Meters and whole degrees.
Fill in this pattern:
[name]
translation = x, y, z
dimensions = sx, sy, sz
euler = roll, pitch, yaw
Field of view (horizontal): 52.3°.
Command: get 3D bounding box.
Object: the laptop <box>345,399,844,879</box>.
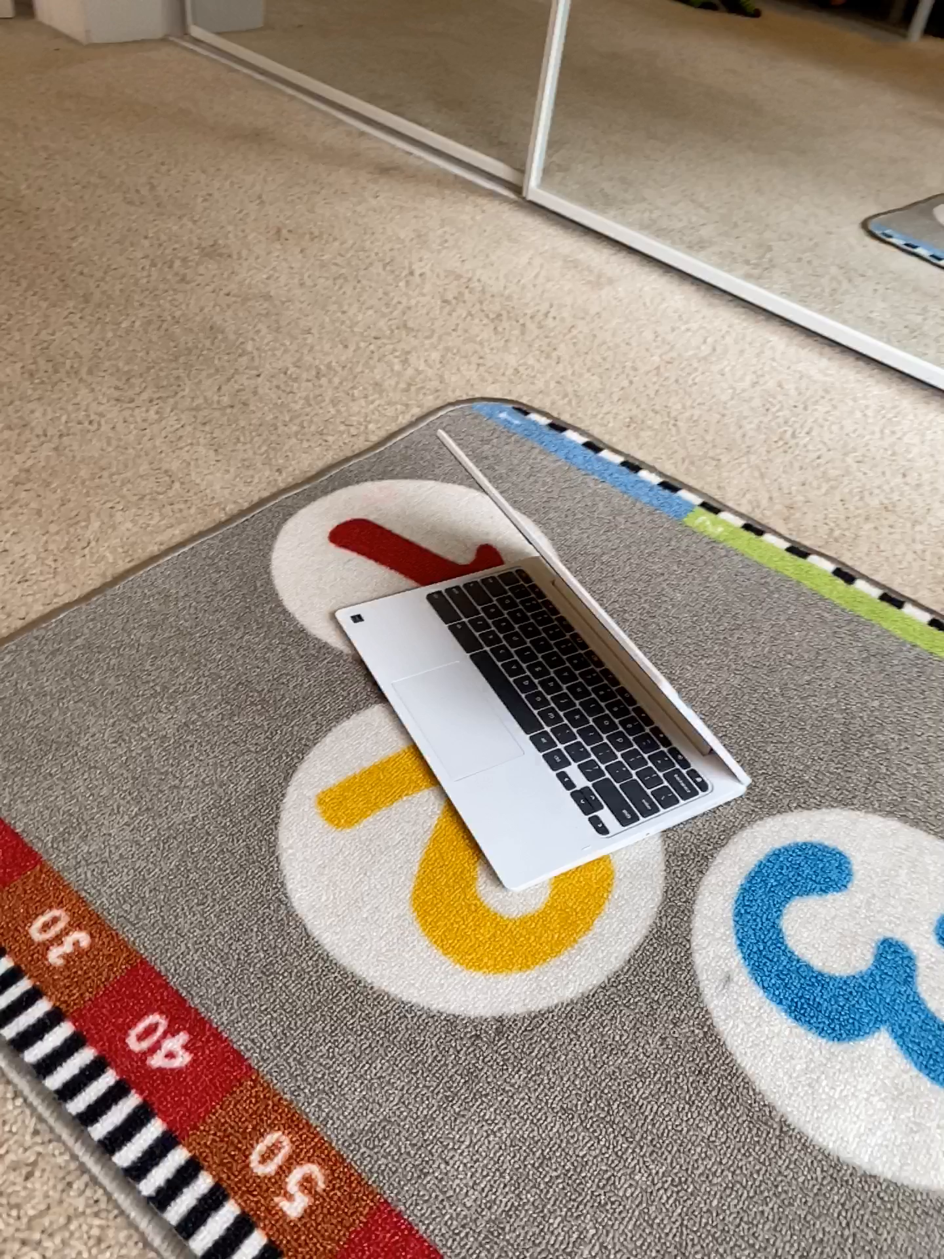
[laptop]
translation = 0.068, -0.012, 0.724
dimensions = 0.217, 0.164, 0.295
euler = -16, 49, -26
